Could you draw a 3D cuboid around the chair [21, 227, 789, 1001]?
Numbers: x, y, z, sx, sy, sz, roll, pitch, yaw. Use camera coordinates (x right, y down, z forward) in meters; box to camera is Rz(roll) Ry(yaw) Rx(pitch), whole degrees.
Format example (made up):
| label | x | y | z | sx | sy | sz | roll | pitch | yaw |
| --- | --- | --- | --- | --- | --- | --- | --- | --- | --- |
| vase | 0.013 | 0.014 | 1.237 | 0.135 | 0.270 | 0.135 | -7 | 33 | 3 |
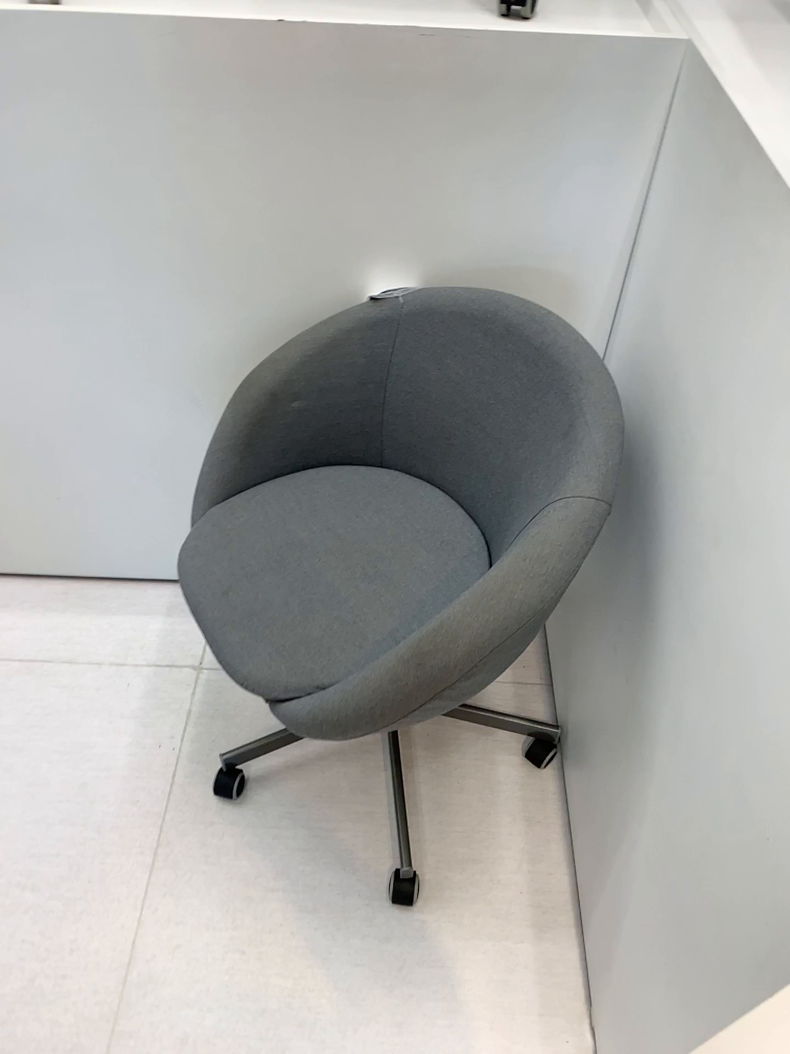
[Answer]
| label | x | y | z | sx | sy | sz | roll | pitch | yaw |
| --- | --- | --- | --- | --- | --- | --- | --- | --- | --- |
| chair | 0.018 | 0.106 | 1.374 | 0.831 | 0.767 | 0.722 | -27 | 54 | -25 |
